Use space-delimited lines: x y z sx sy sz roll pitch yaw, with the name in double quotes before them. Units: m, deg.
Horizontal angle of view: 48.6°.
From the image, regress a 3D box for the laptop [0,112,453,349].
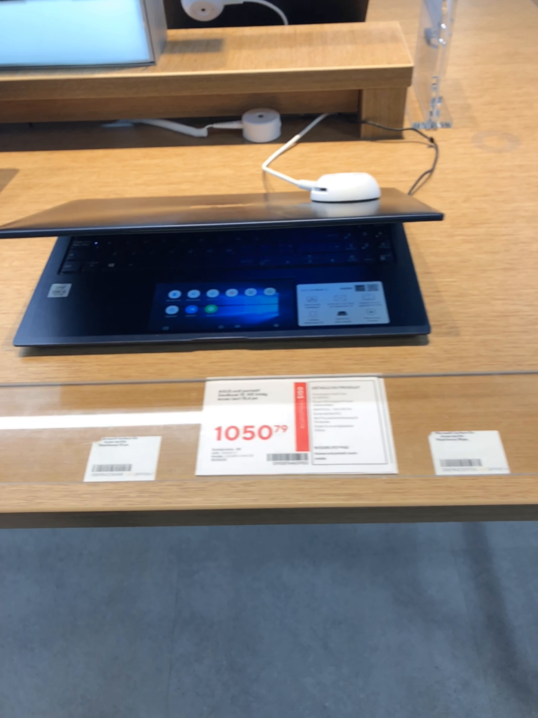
"laptop" -0.041 -0.123 0.535 0.352 0.098 0.209 -2 46 1
